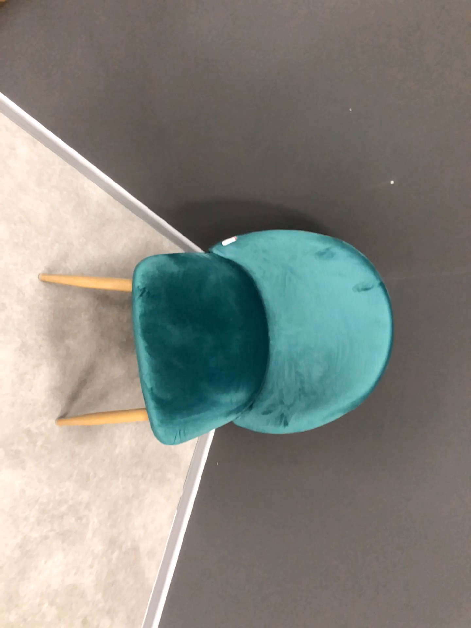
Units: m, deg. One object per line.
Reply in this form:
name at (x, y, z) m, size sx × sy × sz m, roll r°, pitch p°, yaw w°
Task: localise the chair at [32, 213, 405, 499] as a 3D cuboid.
chair at (-0.072, 0.068, 1.444) m, size 0.543 × 0.855 × 0.540 m, roll -10°, pitch 95°, yaw -48°
